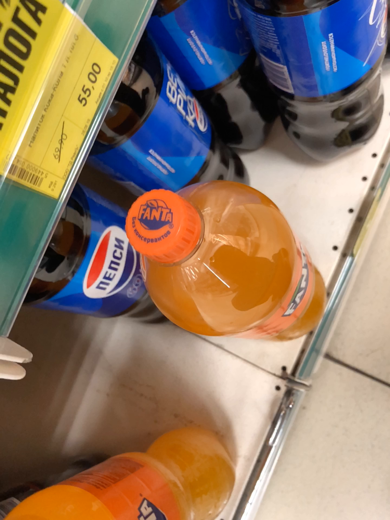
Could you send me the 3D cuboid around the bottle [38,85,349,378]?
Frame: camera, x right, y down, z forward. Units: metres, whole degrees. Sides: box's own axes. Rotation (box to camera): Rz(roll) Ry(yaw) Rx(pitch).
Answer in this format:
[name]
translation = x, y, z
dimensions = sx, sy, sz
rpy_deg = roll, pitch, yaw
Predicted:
[bottle]
translation = 0.044, 0.009, 0.316
dimensions = 0.090, 0.309, 0.100
rpy_deg = 18, 87, 24
